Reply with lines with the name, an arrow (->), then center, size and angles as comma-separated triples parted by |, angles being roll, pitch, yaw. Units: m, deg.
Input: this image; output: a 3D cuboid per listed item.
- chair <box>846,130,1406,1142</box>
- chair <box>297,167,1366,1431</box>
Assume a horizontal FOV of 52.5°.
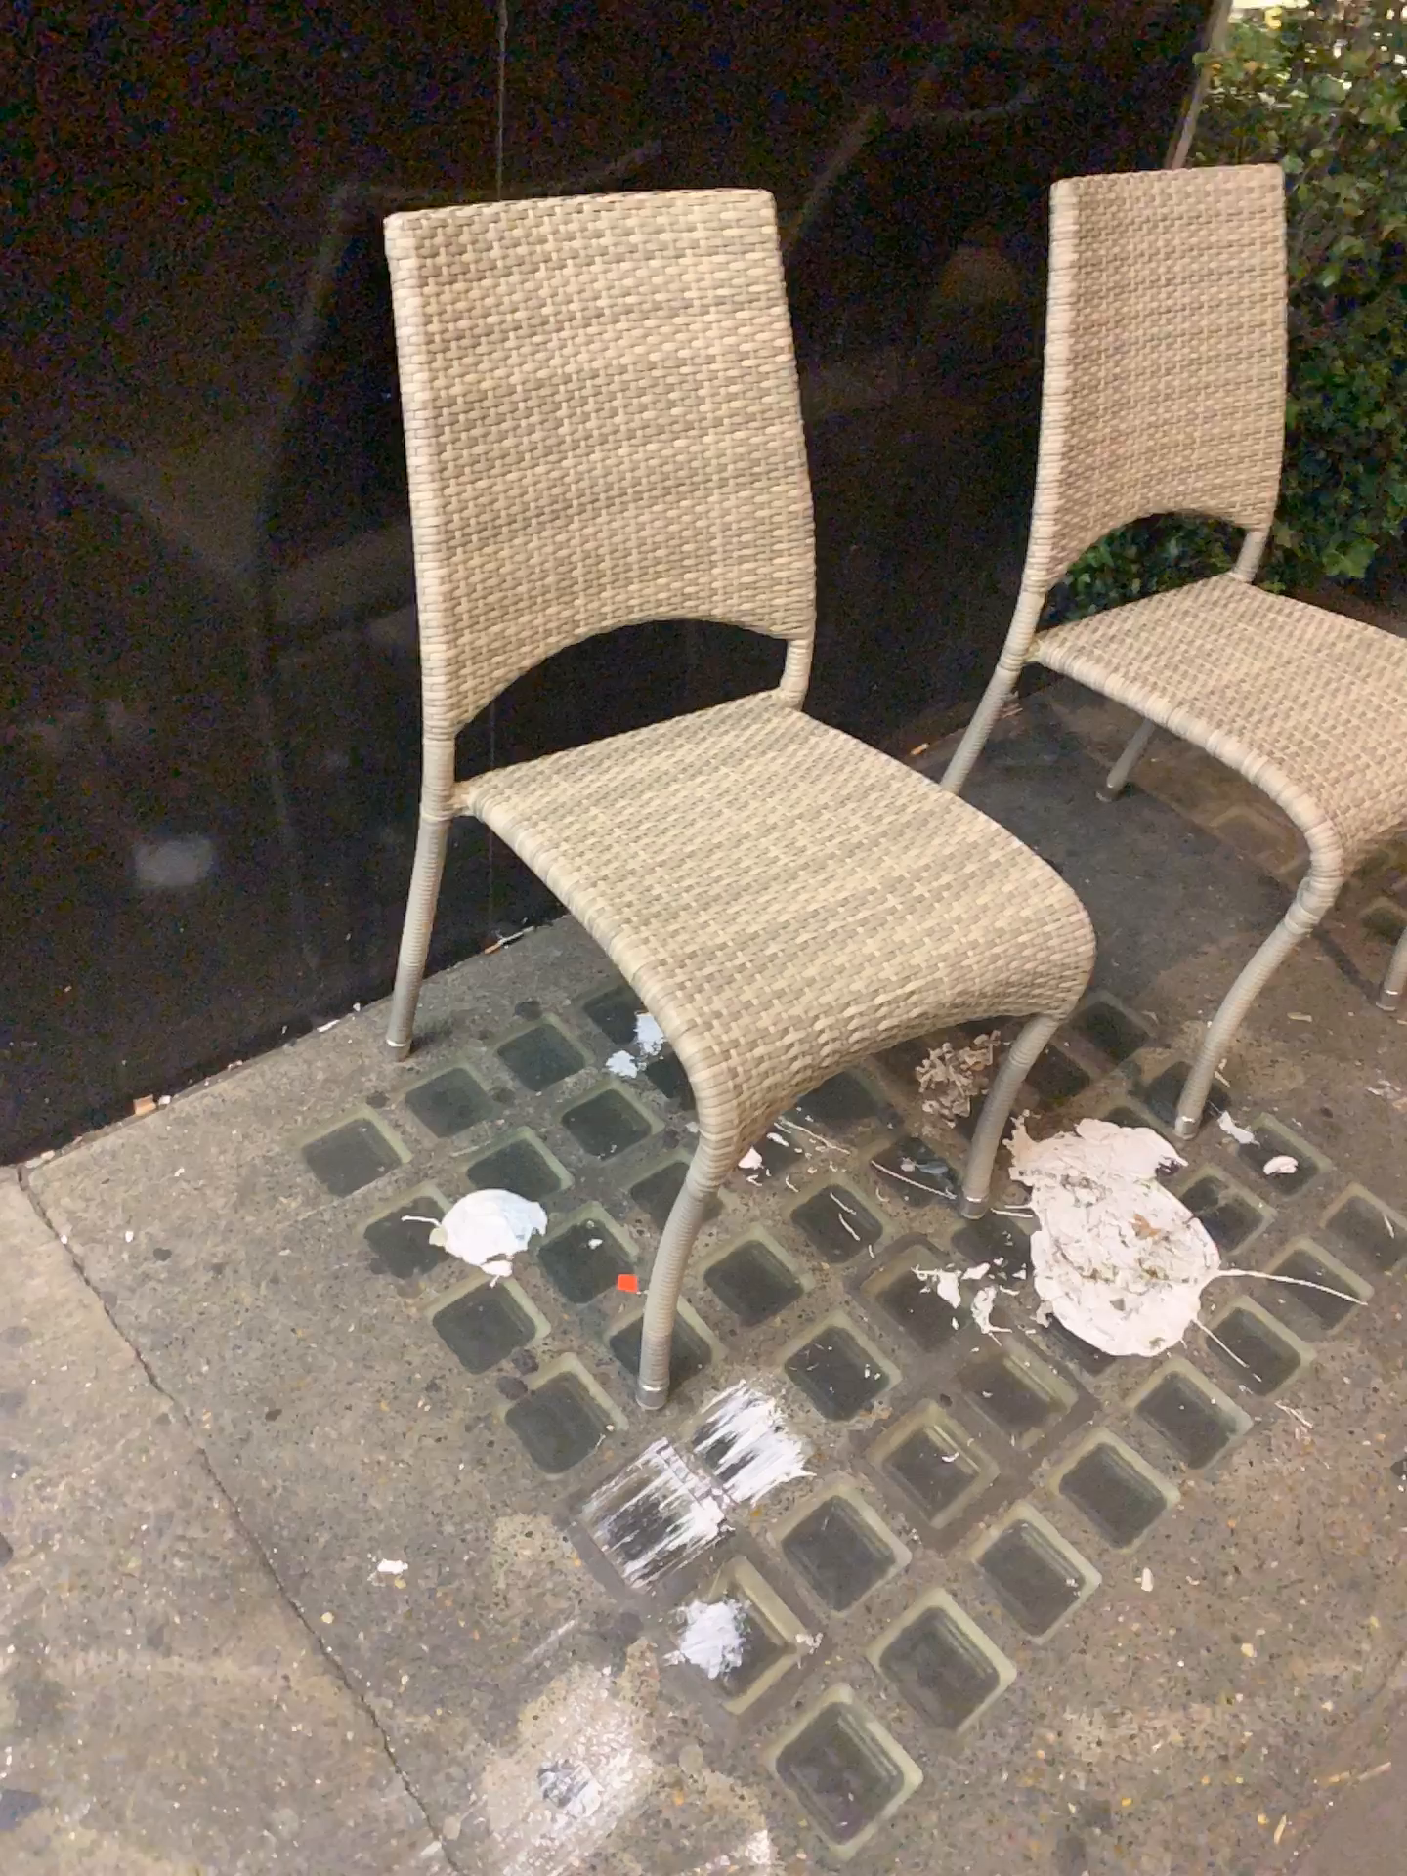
chair -> 0.623, -0.380, 1.674 | 0.582, 0.902, 0.603 | -20, 42, -28
chair -> 0.024, -0.128, 1.281 | 0.482, 0.832, 0.613 | -22, 51, -29
